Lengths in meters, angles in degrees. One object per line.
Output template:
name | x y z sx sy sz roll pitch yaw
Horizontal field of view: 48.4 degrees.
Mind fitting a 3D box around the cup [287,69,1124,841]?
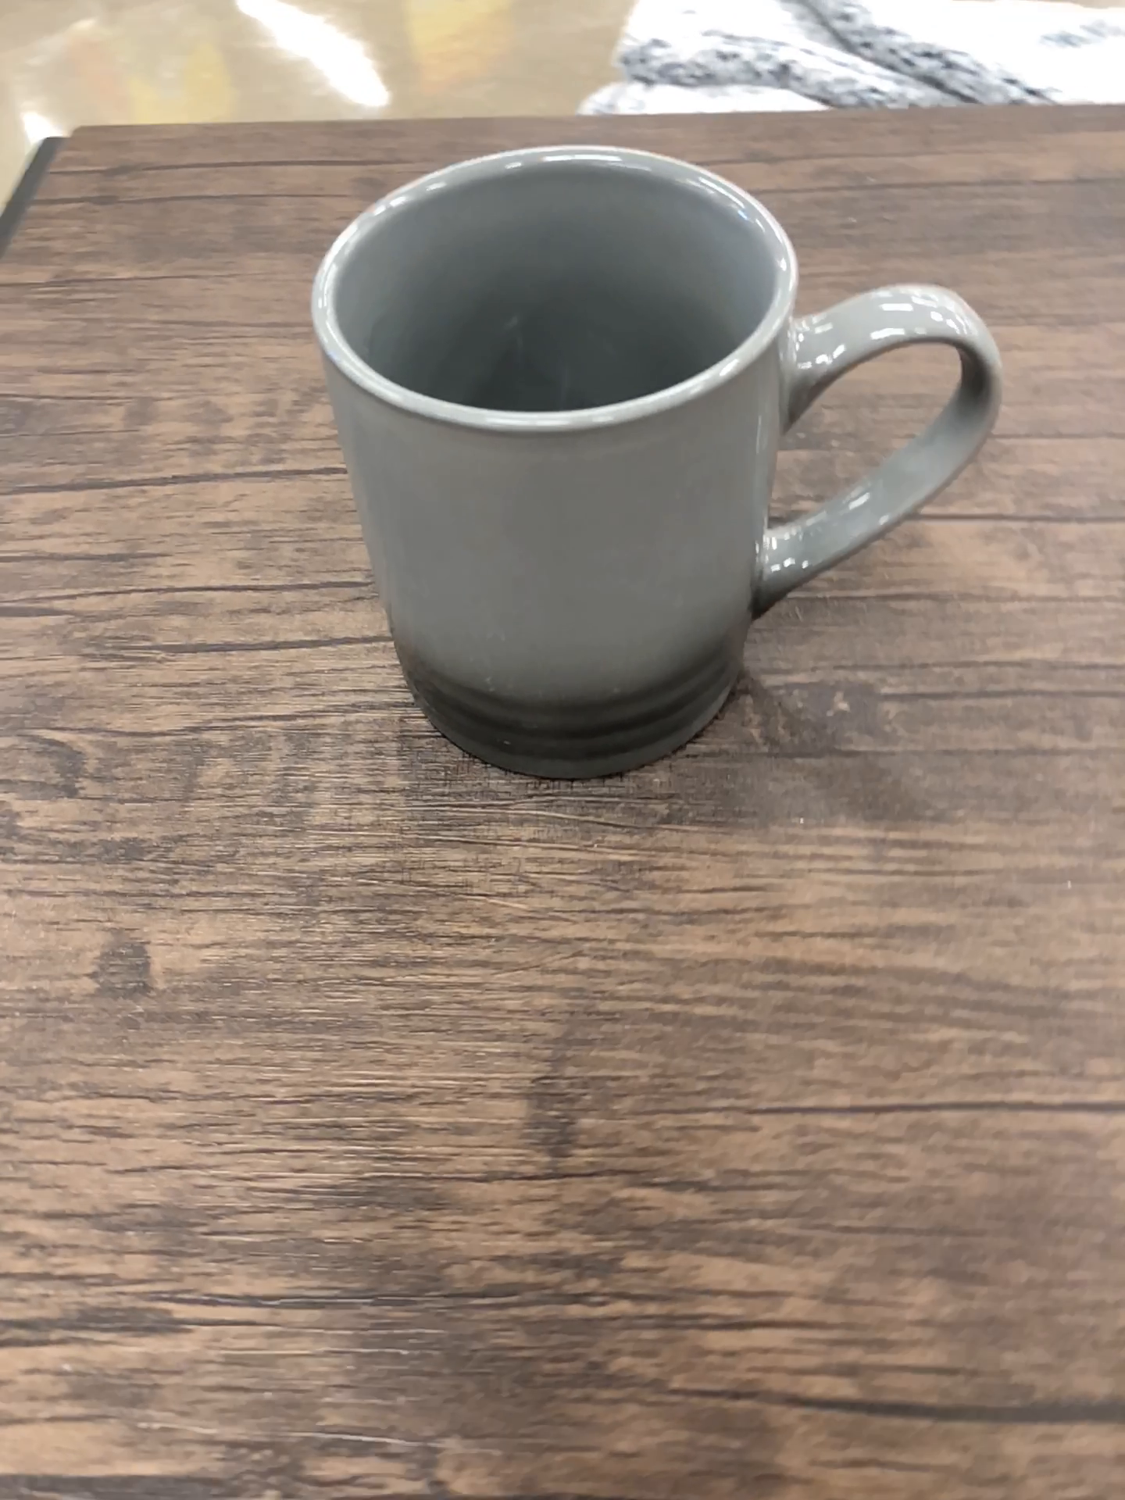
cup | 0.020 -0.058 0.260 0.130 0.110 0.090 -8 52 -4
